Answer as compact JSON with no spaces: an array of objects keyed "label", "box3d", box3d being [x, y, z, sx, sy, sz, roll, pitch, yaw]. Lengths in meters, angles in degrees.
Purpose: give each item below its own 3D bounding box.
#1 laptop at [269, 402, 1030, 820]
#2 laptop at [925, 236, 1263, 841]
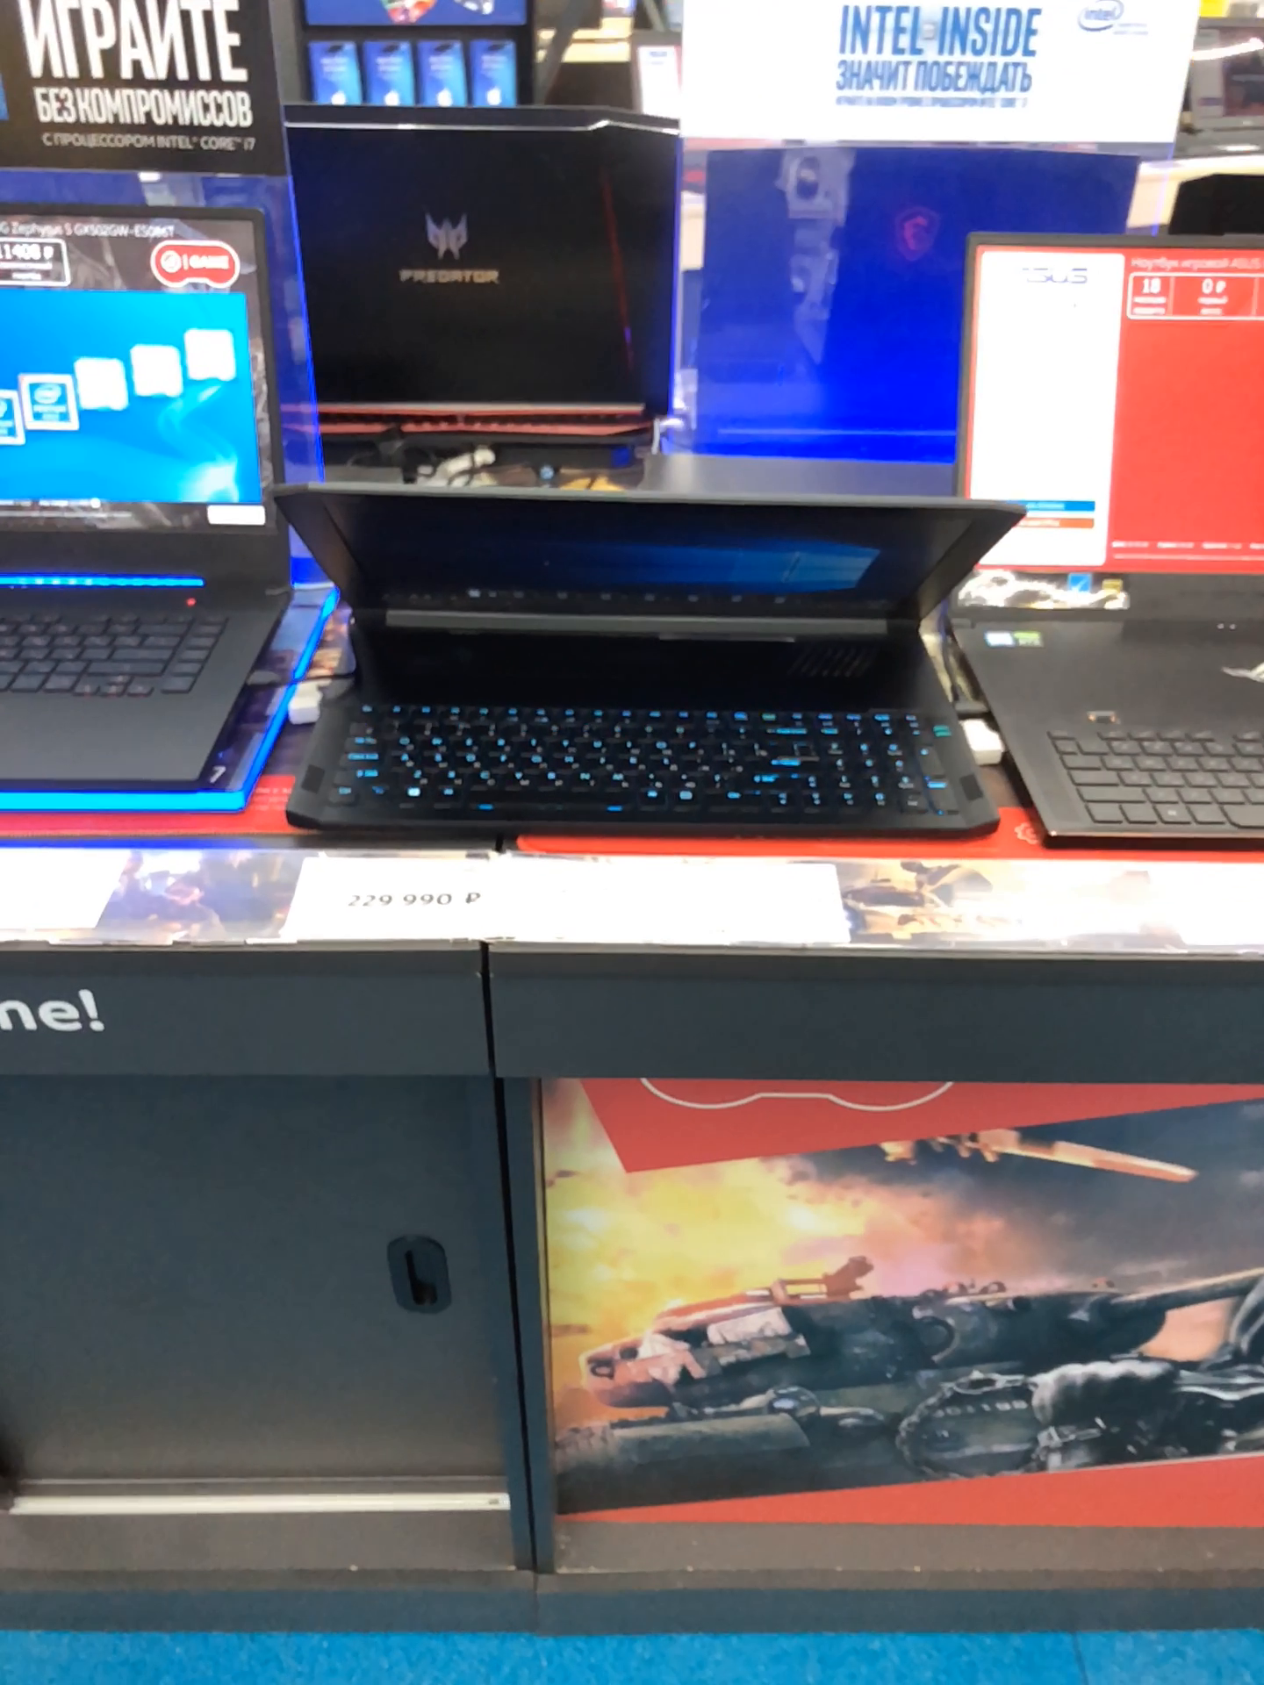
[{"label":"laptop","box3d":[0.006,-0.142,0.811,0.370,0.152,0.227,0,34,-1]},{"label":"laptop","box3d":[0.415,-0.203,0.843,0.371,0.235,0.365,0,33,-1]}]
